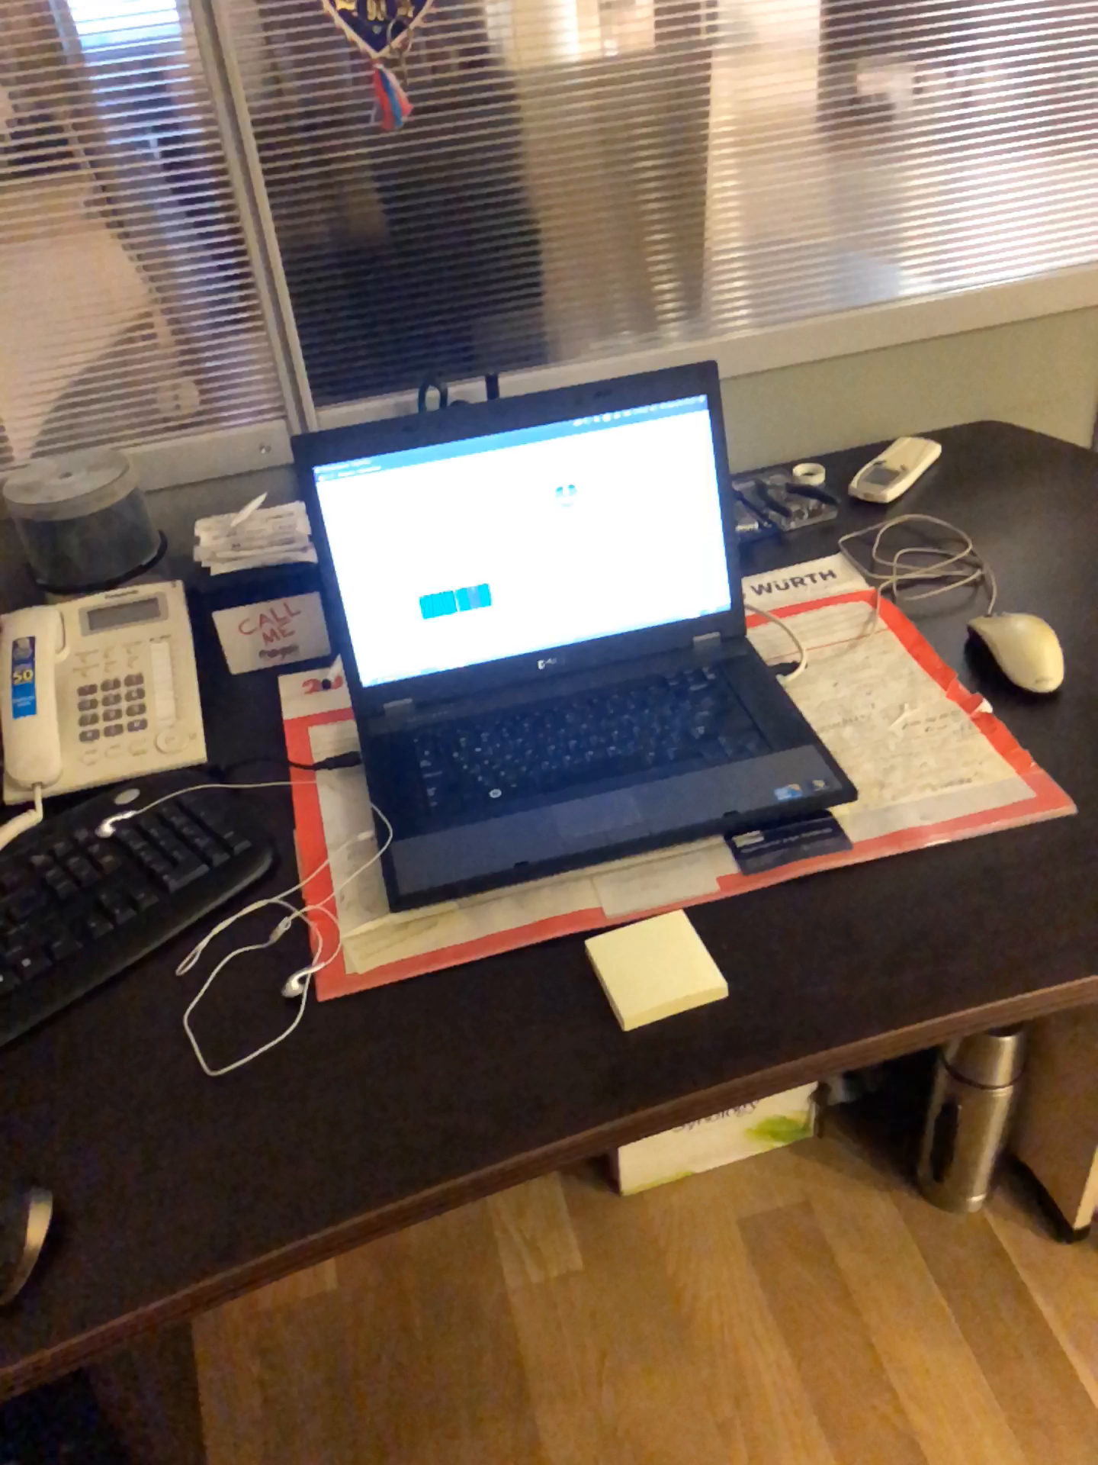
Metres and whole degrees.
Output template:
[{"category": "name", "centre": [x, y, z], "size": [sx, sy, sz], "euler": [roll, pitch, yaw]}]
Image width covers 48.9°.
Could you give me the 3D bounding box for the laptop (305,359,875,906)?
[{"category": "laptop", "centre": [0.017, -0.083, 0.834], "size": [0.317, 0.209, 0.257], "euler": [-13, 37, -7]}]
